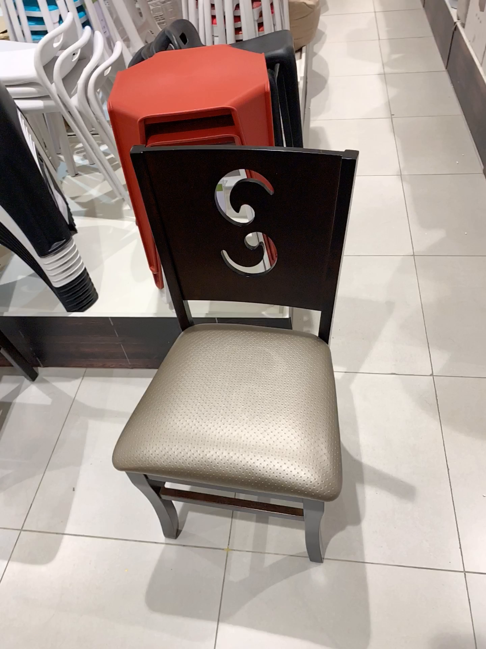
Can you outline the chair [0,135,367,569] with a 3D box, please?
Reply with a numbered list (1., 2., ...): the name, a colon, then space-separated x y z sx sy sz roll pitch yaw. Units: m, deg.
1. chair: -0.028 0.106 1.117 0.500 0.847 0.521 3 48 9
